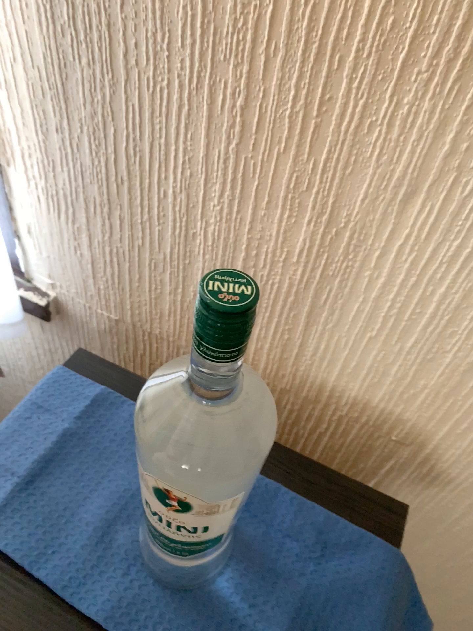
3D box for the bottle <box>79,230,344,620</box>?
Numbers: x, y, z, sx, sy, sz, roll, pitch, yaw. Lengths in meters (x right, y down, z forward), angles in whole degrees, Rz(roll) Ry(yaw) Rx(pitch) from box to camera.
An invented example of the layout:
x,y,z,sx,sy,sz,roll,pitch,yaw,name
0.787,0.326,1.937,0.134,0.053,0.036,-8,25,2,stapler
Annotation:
x,y,z,sx,sy,sz,roll,pitch,yaw,name
-0.028,0.105,0.323,0.090,0.317,0.071,25,48,13,bottle
